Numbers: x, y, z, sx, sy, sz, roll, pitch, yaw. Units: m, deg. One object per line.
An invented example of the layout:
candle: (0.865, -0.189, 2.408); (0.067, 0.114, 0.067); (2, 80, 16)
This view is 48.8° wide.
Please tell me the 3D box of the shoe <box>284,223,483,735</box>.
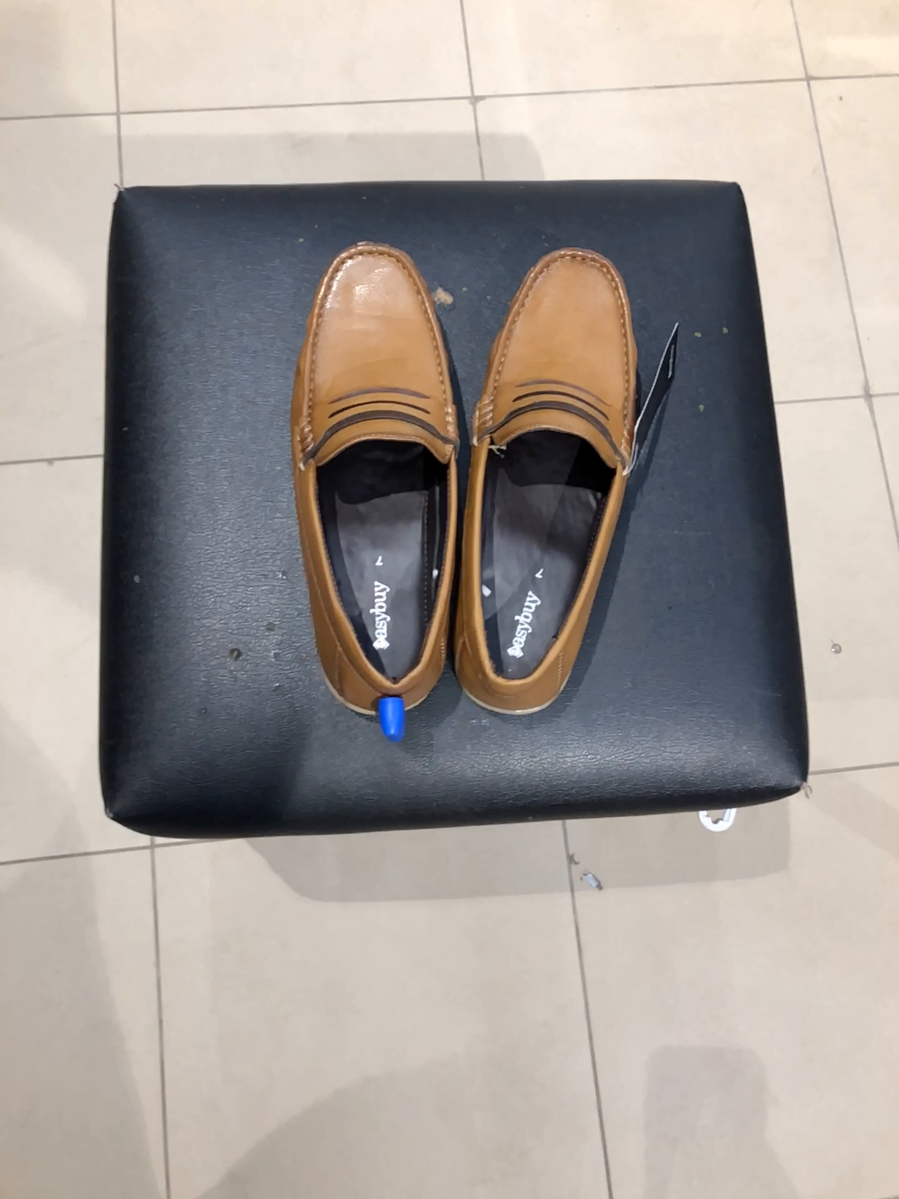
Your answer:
shoe: (-0.039, -0.065, 0.562); (0.098, 0.088, 0.273); (-1, 78, -4)

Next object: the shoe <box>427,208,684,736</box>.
shoe: (0.059, -0.068, 0.565); (0.098, 0.088, 0.273); (9, 78, -2)
